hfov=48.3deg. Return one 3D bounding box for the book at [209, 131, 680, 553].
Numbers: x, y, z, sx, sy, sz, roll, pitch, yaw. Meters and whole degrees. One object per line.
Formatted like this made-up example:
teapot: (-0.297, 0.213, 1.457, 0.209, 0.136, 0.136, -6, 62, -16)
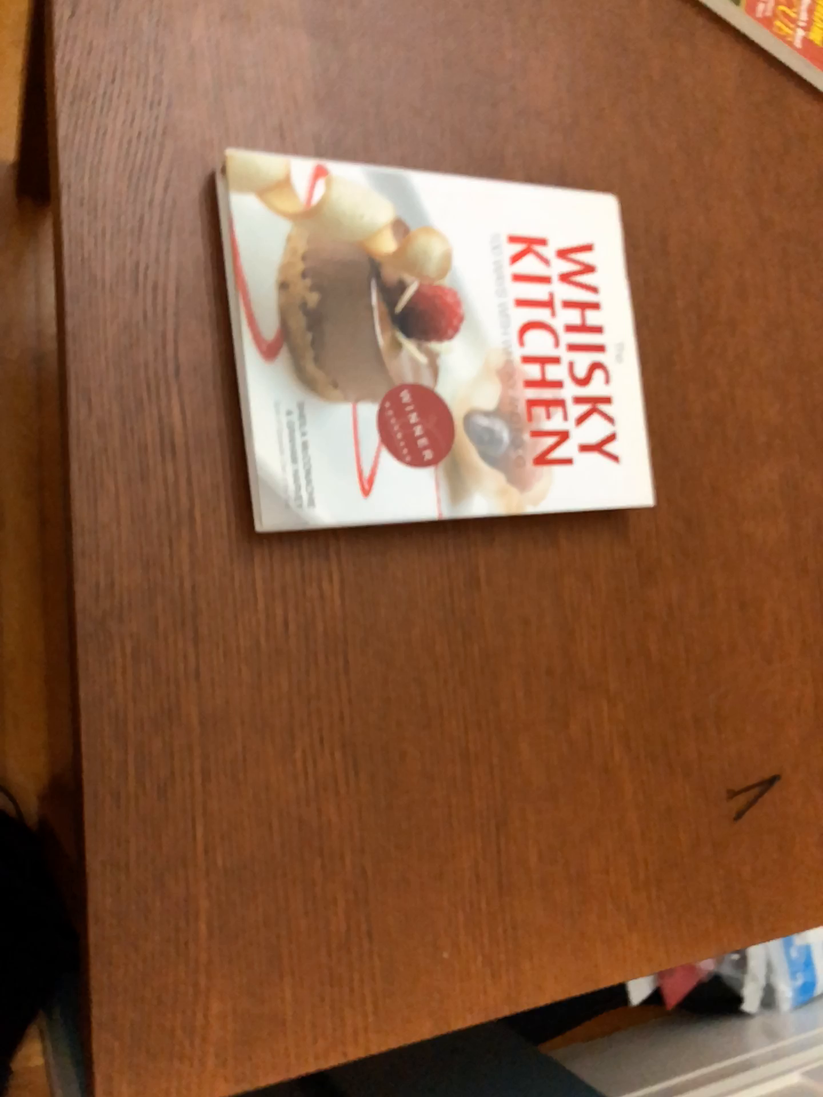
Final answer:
book: (0.028, -0.118, 0.552, 0.271, 0.040, 0.220, -4, 85, -26)
